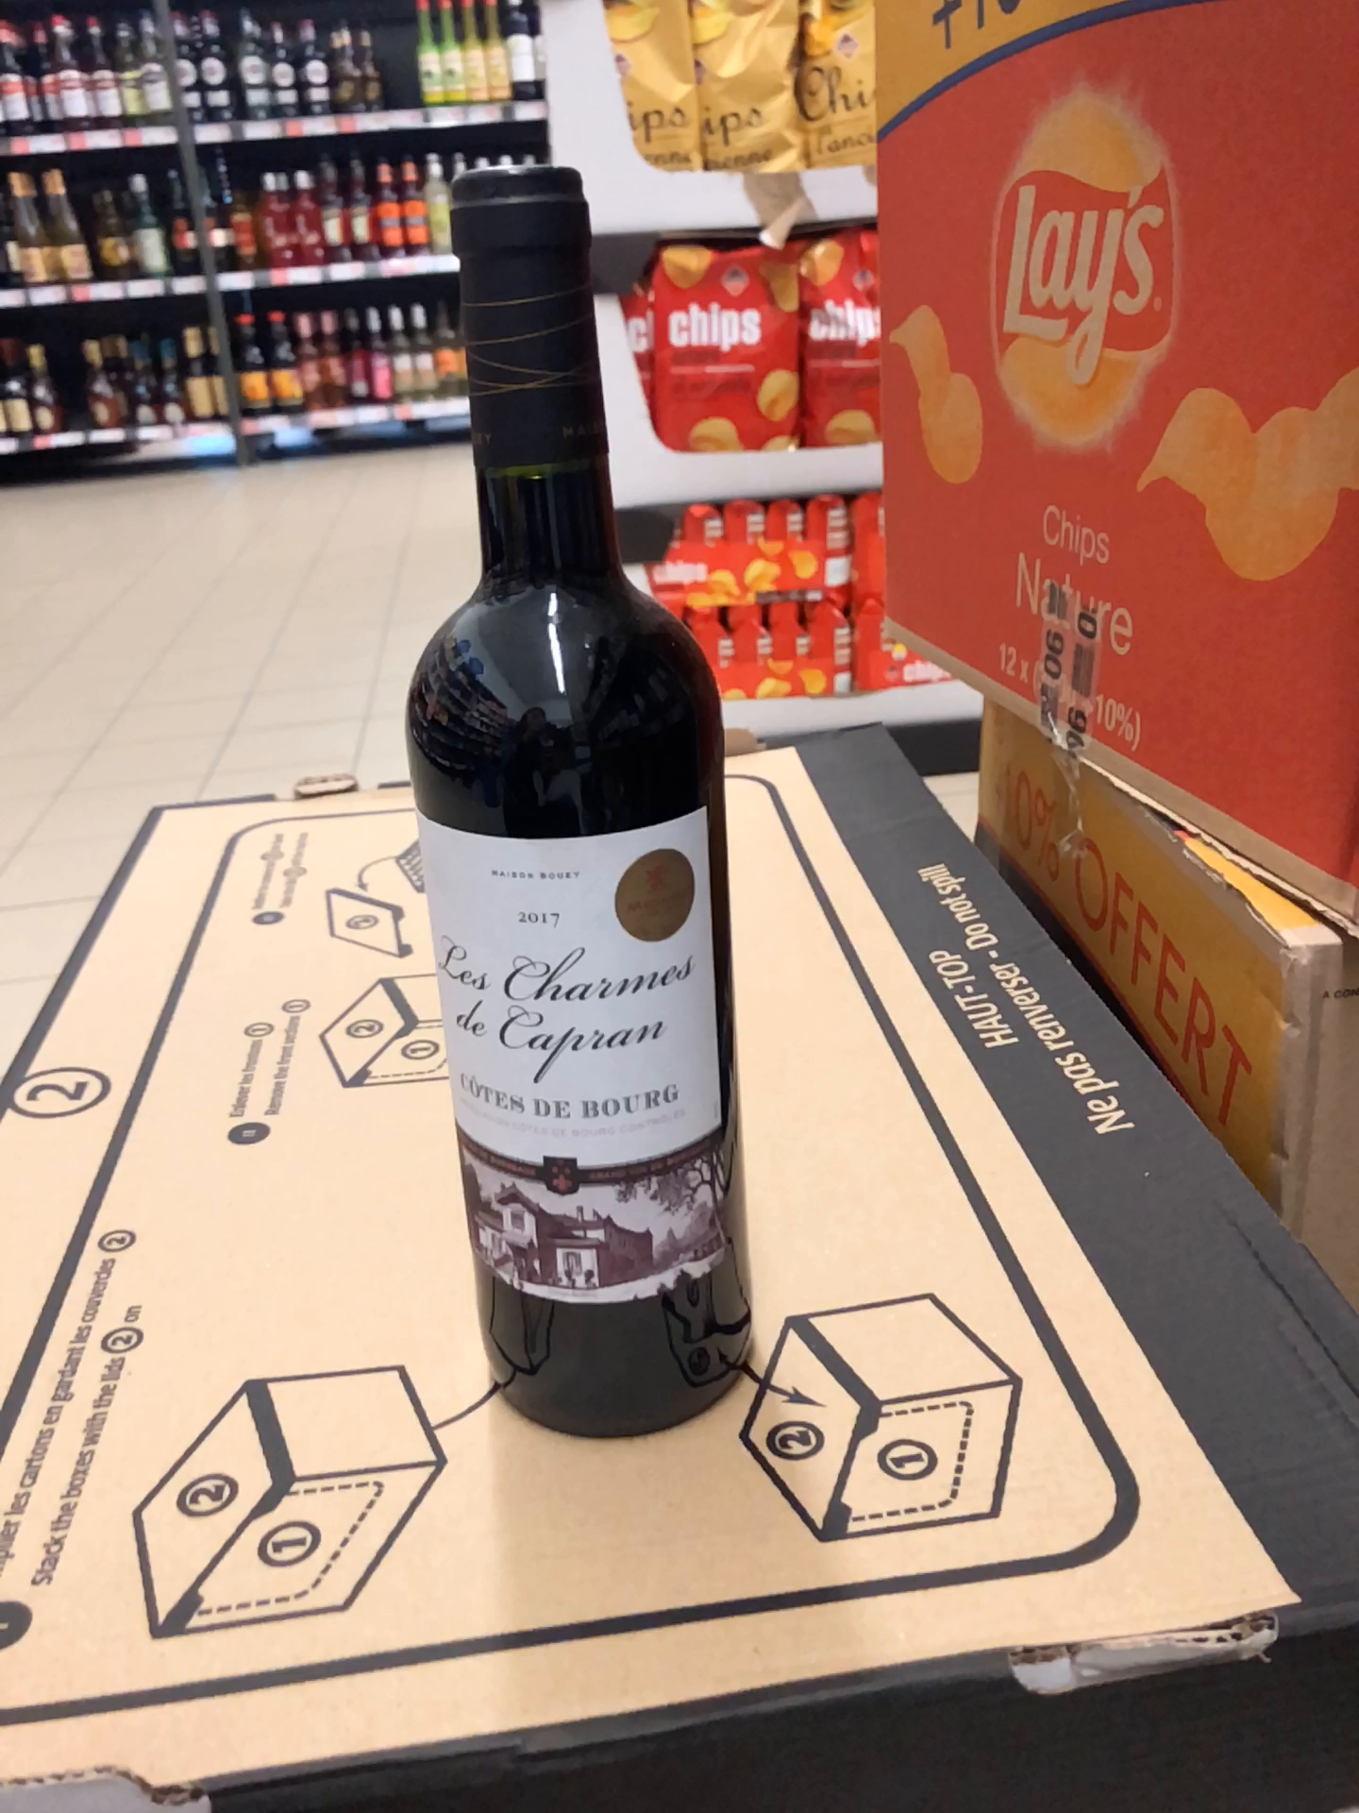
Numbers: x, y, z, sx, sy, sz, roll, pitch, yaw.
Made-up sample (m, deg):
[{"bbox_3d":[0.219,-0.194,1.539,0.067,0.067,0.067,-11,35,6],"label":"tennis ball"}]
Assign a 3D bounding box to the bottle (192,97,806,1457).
[{"bbox_3d":[-0.023,-0.017,0.347,0.090,0.289,0.091,-4,24,2],"label":"bottle"}]
